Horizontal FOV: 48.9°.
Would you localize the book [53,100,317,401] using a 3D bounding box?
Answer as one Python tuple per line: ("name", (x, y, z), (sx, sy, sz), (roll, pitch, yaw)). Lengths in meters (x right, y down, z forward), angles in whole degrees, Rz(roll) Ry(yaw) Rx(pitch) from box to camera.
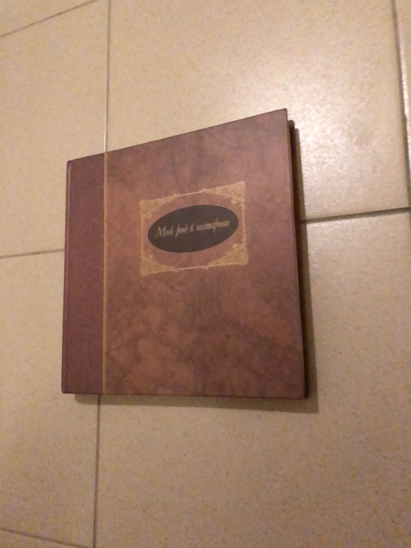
("book", (-0.031, -0.011, 0.424), (0.245, 0.038, 0.244), (-7, 77, 25))
